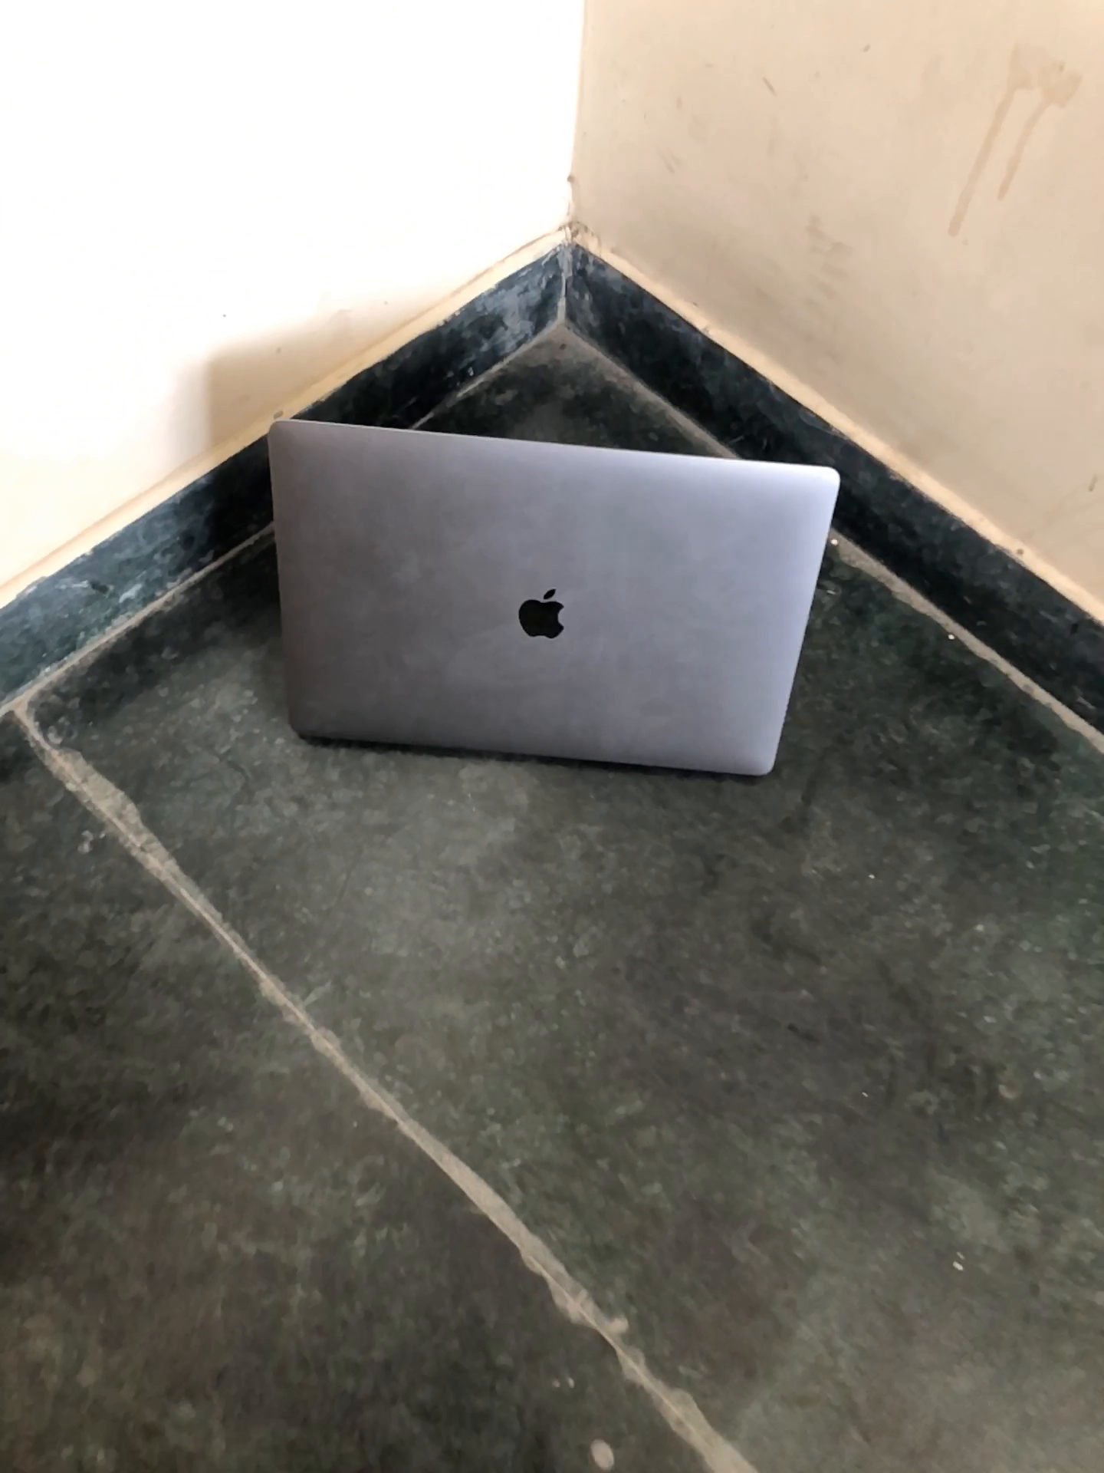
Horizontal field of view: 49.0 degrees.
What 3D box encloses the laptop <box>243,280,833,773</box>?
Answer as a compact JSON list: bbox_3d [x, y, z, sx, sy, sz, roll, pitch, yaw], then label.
[{"bbox_3d":[-0.004,-0.134,0.811,0.329,0.198,0.221,5,63,2],"label":"laptop"}]
